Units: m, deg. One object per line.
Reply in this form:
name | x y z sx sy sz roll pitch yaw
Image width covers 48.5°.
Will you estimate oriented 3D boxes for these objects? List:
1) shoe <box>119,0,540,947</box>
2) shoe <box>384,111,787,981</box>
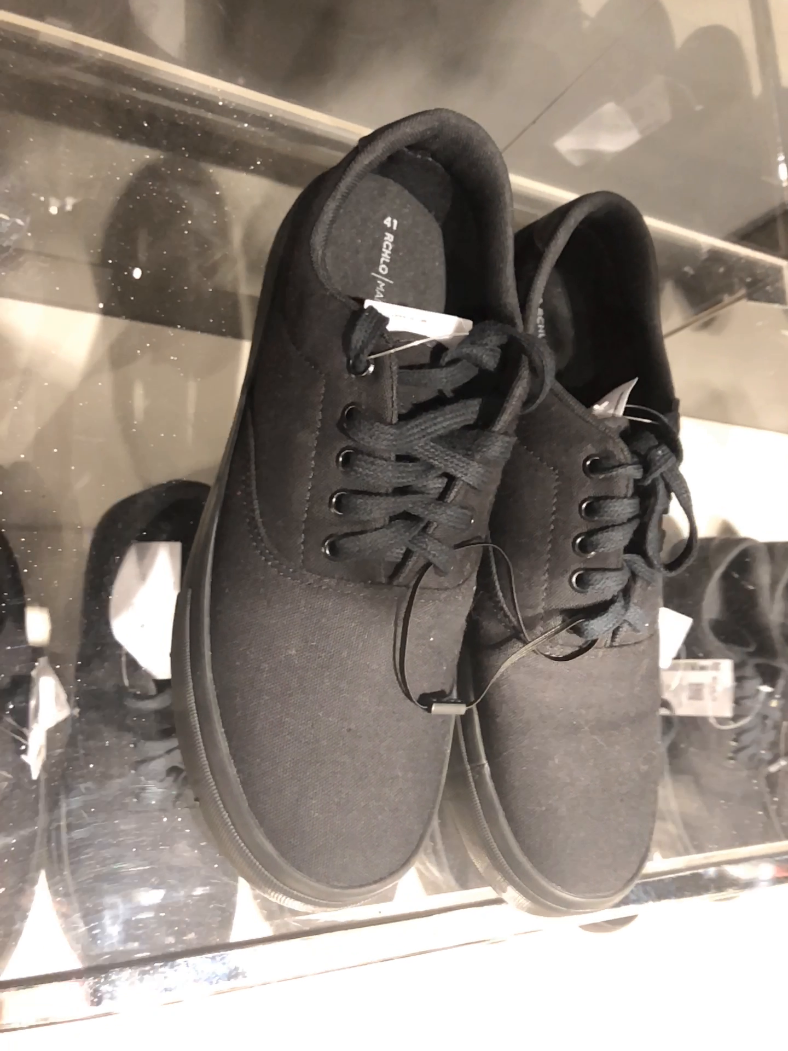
shoe | -0.021 -0.021 0.349 0.110 0.109 0.320 11 74 -27
shoe | 0.074 0.005 0.390 0.110 0.109 0.320 5 76 -28
